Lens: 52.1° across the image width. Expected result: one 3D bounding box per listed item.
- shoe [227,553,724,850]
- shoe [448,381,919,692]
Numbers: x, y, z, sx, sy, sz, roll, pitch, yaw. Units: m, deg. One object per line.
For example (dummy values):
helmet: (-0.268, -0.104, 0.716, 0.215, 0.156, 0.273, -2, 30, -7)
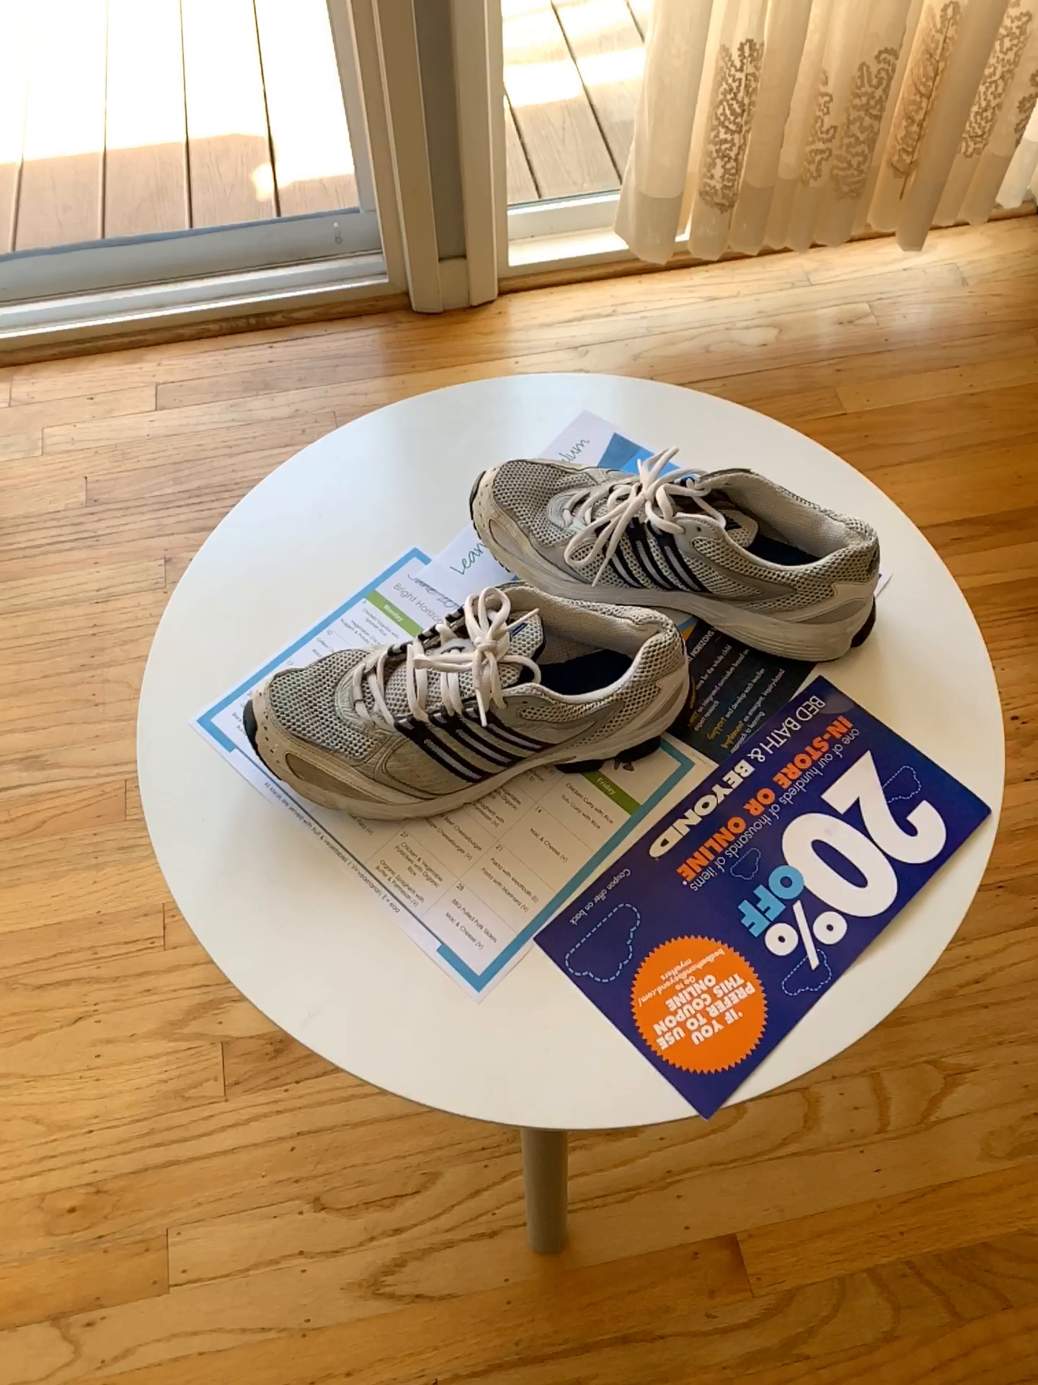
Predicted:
shoe: (-0.030, 0.005, 0.664, 0.280, 0.080, 0.120, -9, 59, -4)
shoe: (0.106, -0.108, 0.715, 0.280, 0.080, 0.110, 18, 61, 12)
